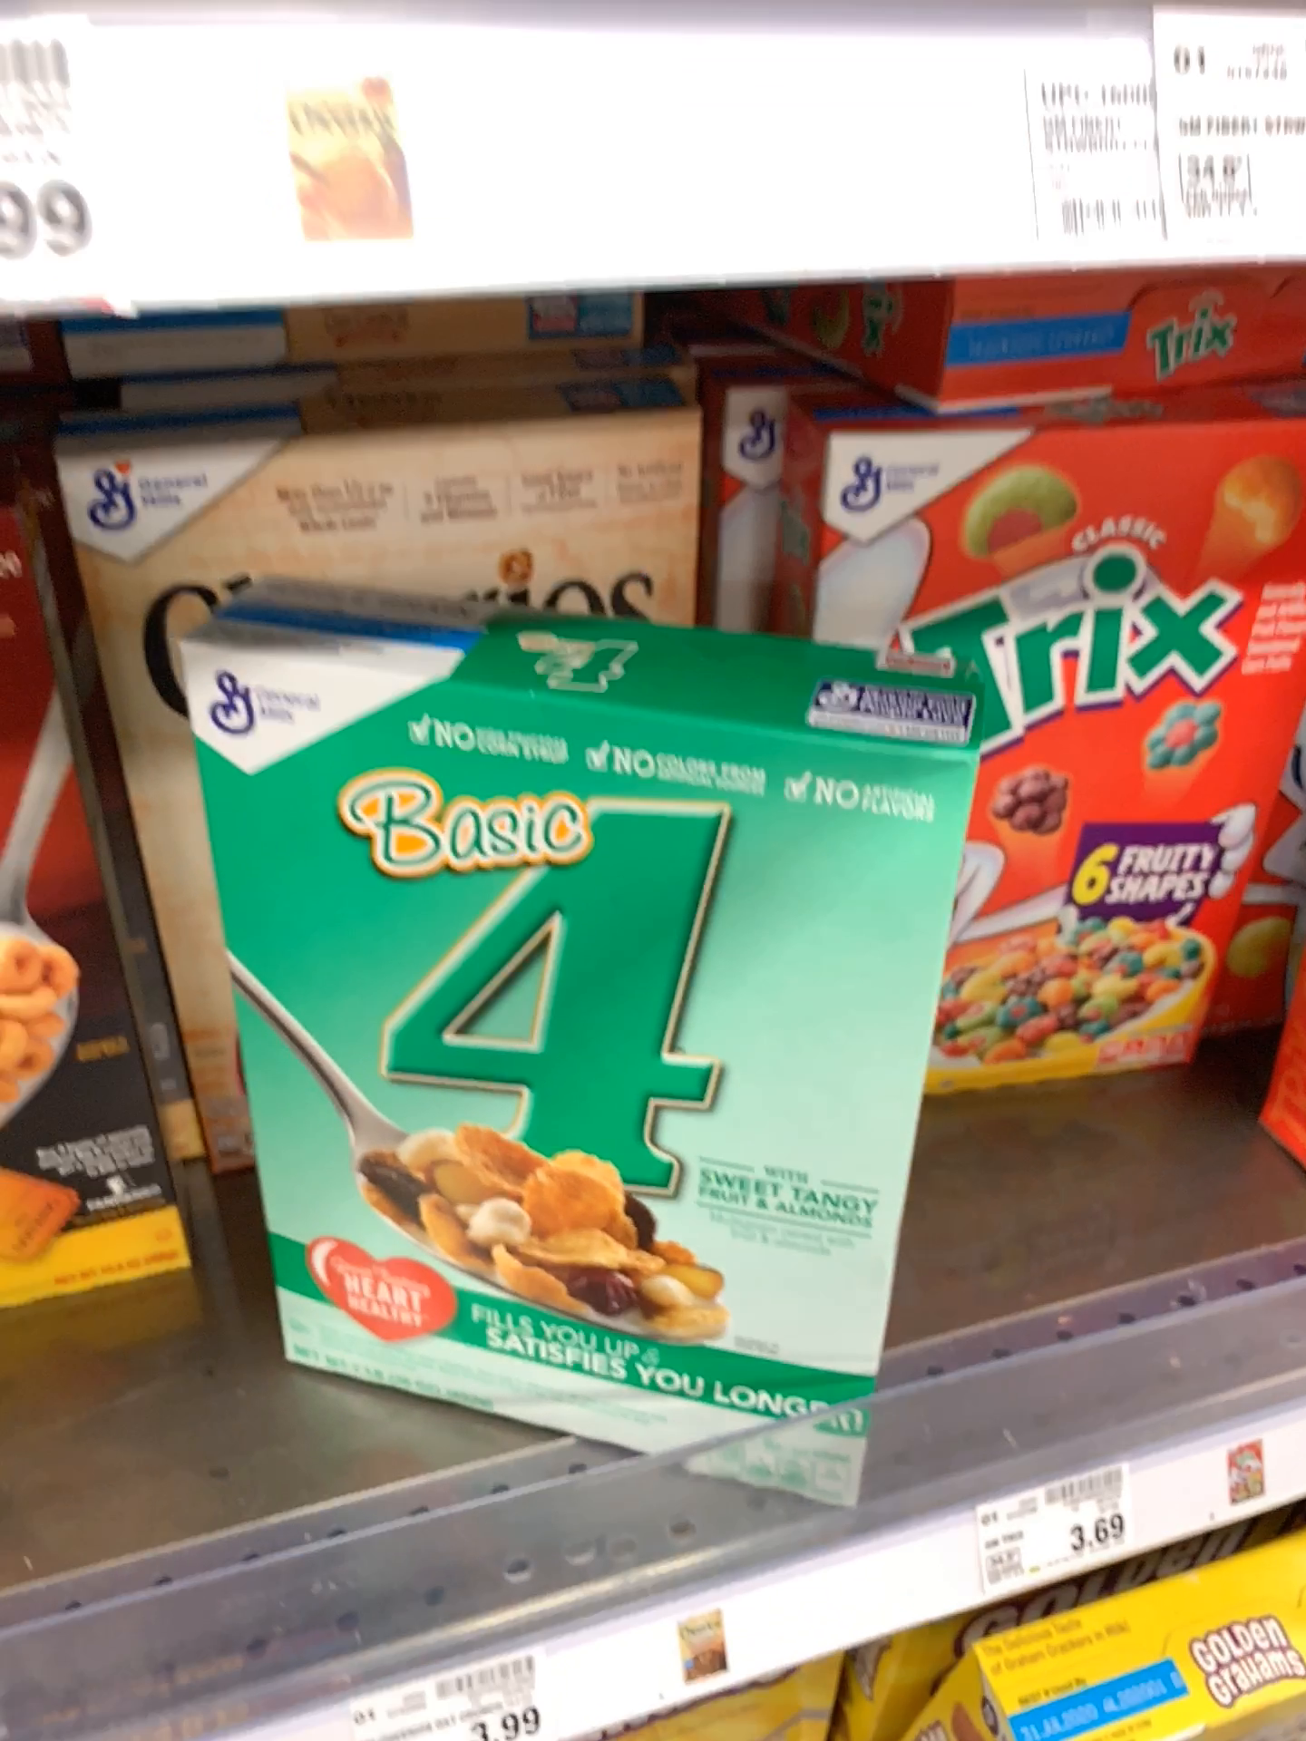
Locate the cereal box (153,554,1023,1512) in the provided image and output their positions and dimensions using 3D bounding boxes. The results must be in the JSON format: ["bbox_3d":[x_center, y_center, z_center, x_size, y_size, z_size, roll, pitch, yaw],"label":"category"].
[{"bbox_3d":[-0.019,0.055,0.388,0.200,0.259,0.050,9,31,12],"label":"cereal box"}]
